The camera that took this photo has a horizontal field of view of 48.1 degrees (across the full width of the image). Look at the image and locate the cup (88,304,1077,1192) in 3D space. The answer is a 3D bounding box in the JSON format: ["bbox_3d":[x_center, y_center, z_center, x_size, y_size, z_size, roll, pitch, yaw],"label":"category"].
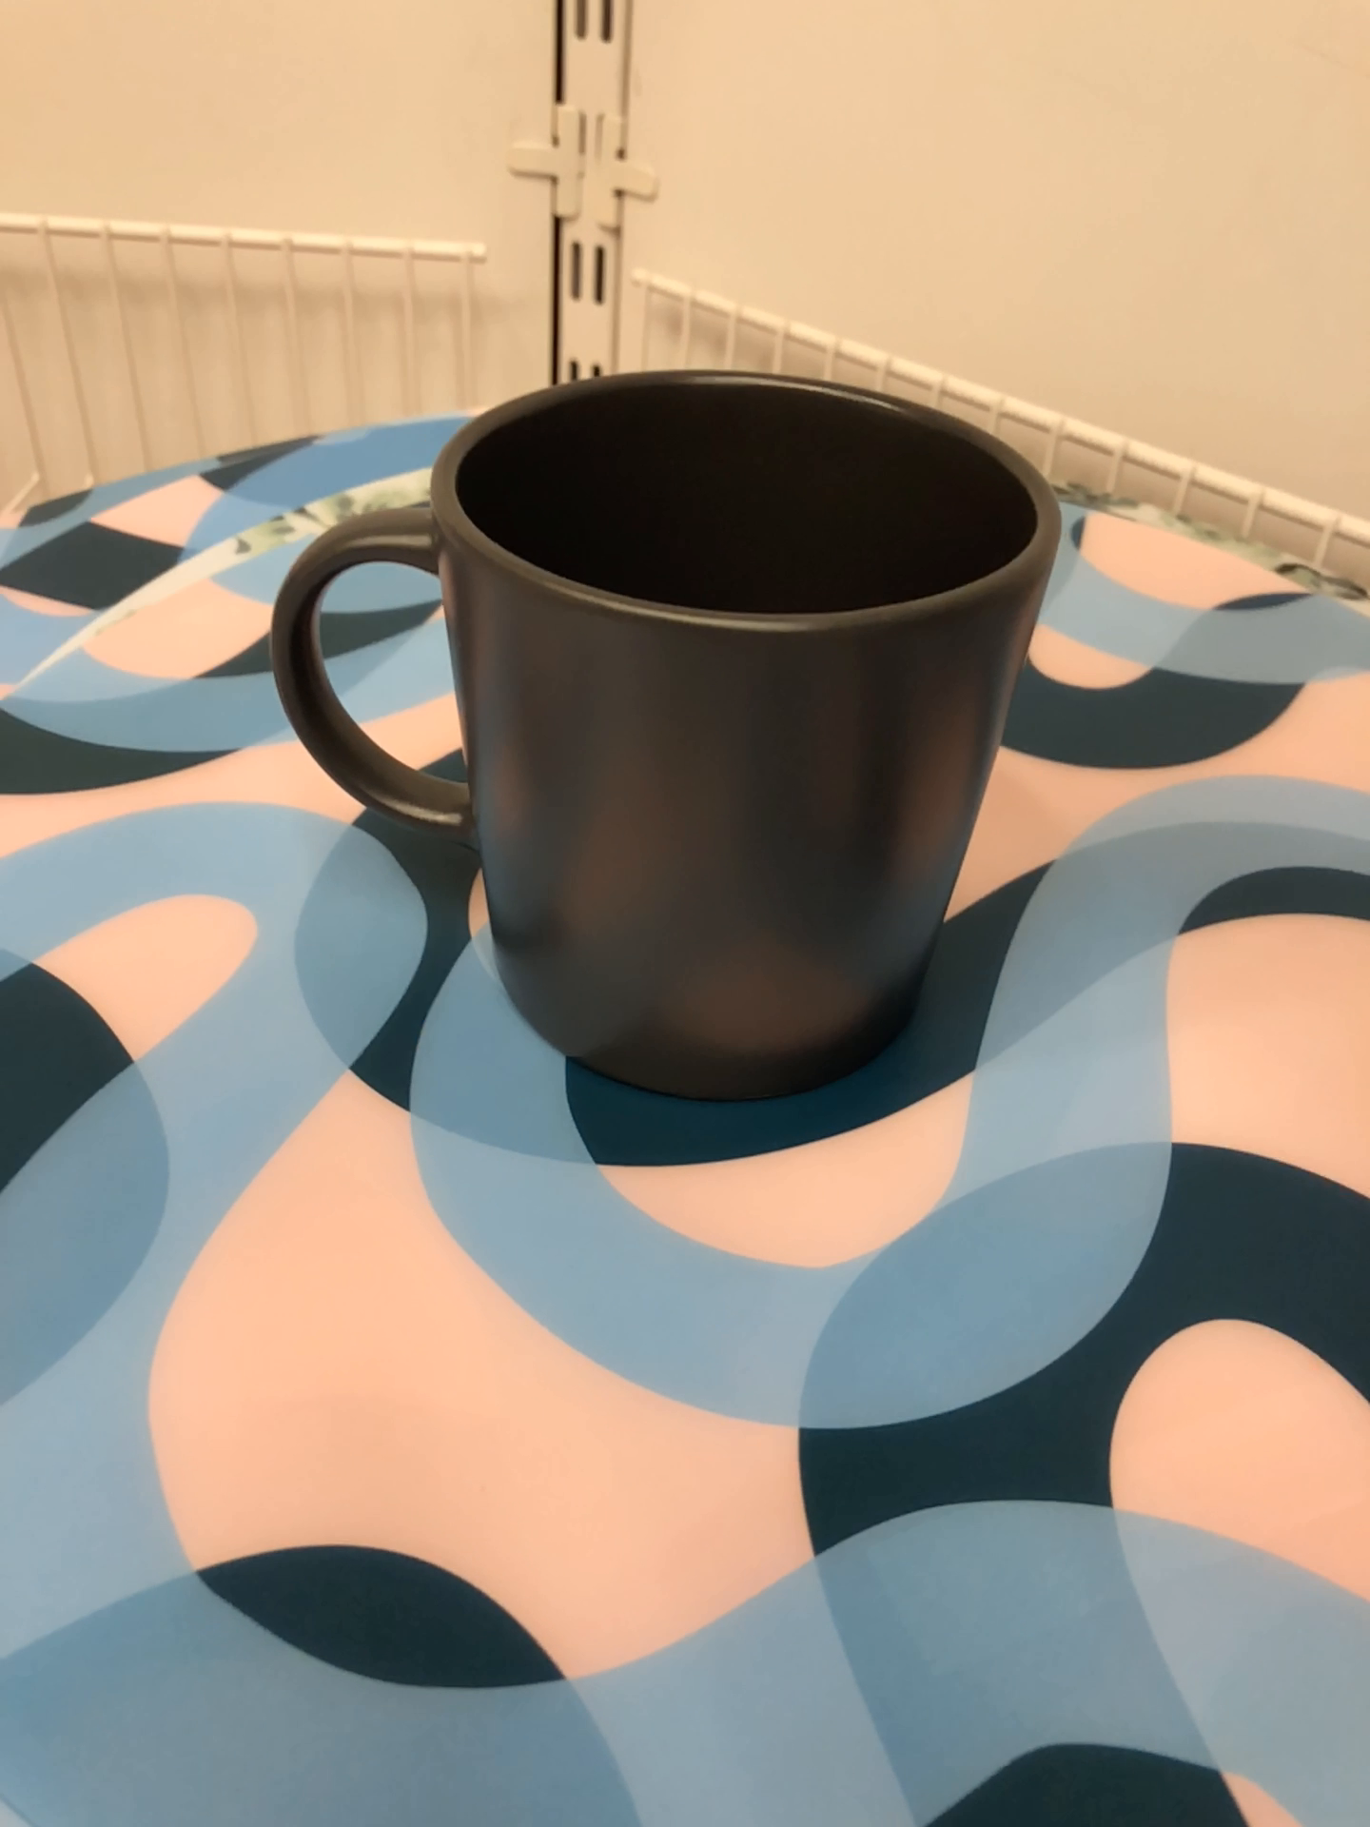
[{"bbox_3d":[-0.010,-0.033,0.248,0.120,0.090,0.090,12,37,10],"label":"cup"}]
